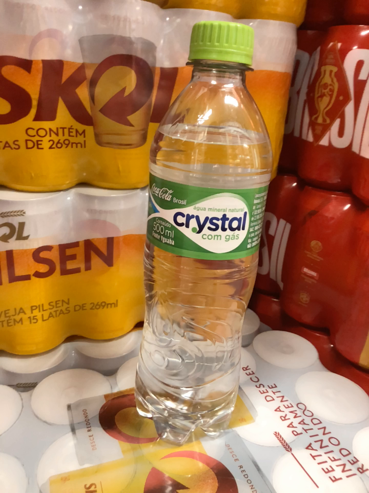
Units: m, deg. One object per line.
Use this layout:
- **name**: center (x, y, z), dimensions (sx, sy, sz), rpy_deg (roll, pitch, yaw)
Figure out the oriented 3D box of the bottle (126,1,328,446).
- **bottle**: center (0.008, 0.002, 0.219), dimensions (0.070, 0.218, 0.060), rpy_deg (3, 24, -5)
